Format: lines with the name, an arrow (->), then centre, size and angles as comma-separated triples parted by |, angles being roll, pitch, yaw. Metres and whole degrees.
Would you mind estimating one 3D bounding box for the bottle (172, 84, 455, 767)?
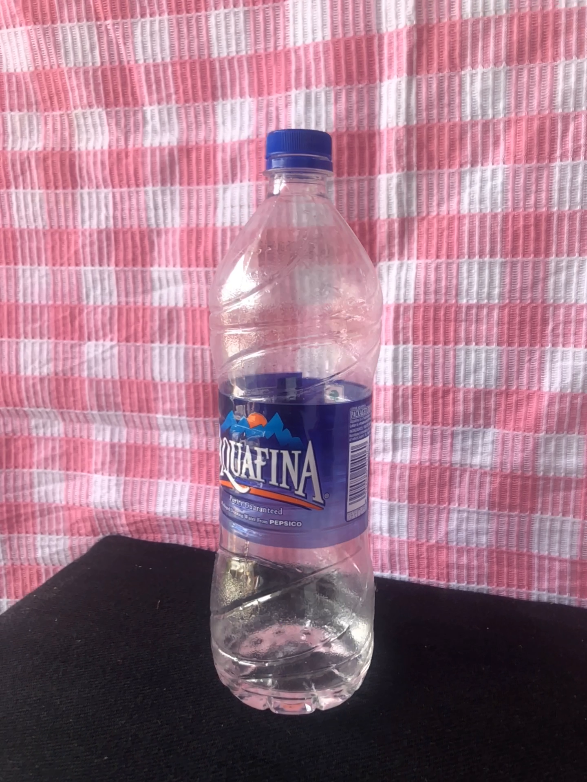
bottle -> 0.005, 0.014, 0.292 | 0.090, 0.259, 0.070 | 12, 17, 39
